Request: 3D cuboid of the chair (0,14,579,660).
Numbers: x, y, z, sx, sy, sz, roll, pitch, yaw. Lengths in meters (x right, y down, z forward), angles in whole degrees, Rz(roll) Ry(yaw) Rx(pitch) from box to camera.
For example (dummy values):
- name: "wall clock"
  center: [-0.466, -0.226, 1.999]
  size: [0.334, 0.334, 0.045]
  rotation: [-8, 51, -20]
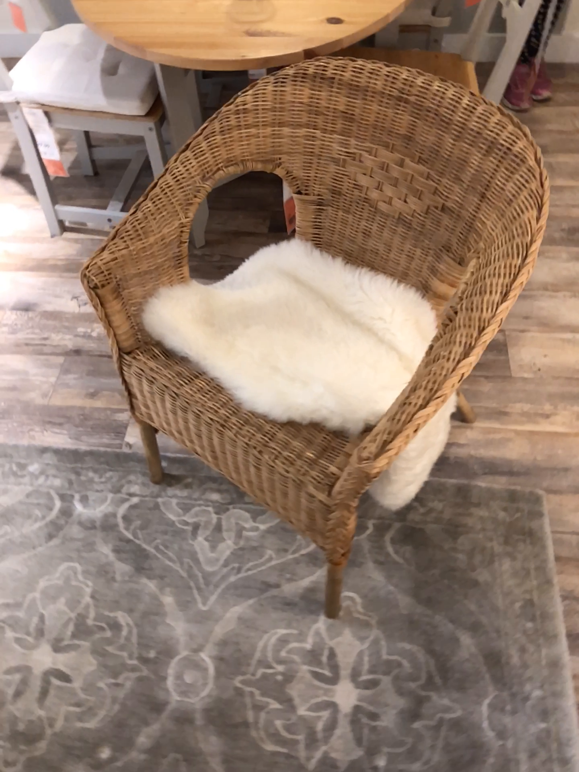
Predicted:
- name: "chair"
  center: [0.064, -0.079, 1.140]
  size: [0.651, 0.718, 0.631]
  rotation: [33, 61, 24]
